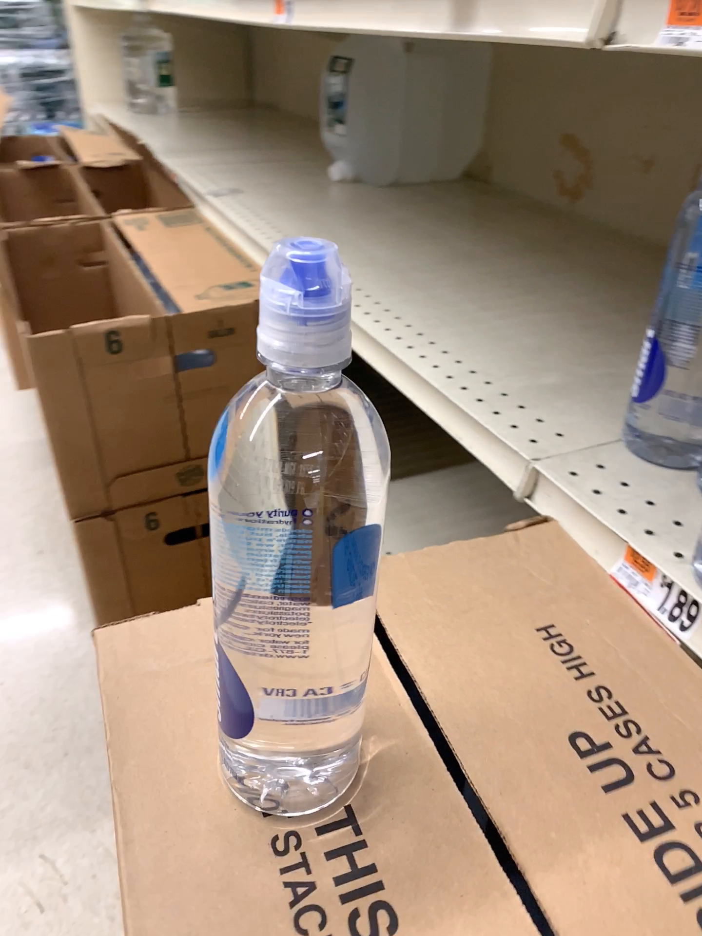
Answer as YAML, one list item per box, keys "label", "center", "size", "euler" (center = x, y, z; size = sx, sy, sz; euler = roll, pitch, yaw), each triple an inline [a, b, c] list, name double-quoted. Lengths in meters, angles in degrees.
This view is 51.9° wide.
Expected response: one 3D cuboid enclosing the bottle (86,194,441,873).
- label: "bottle"
  center: [-0.033, 0.035, 0.284]
  size: [0.090, 0.249, 0.090]
  euler: [1, 32, 0]
